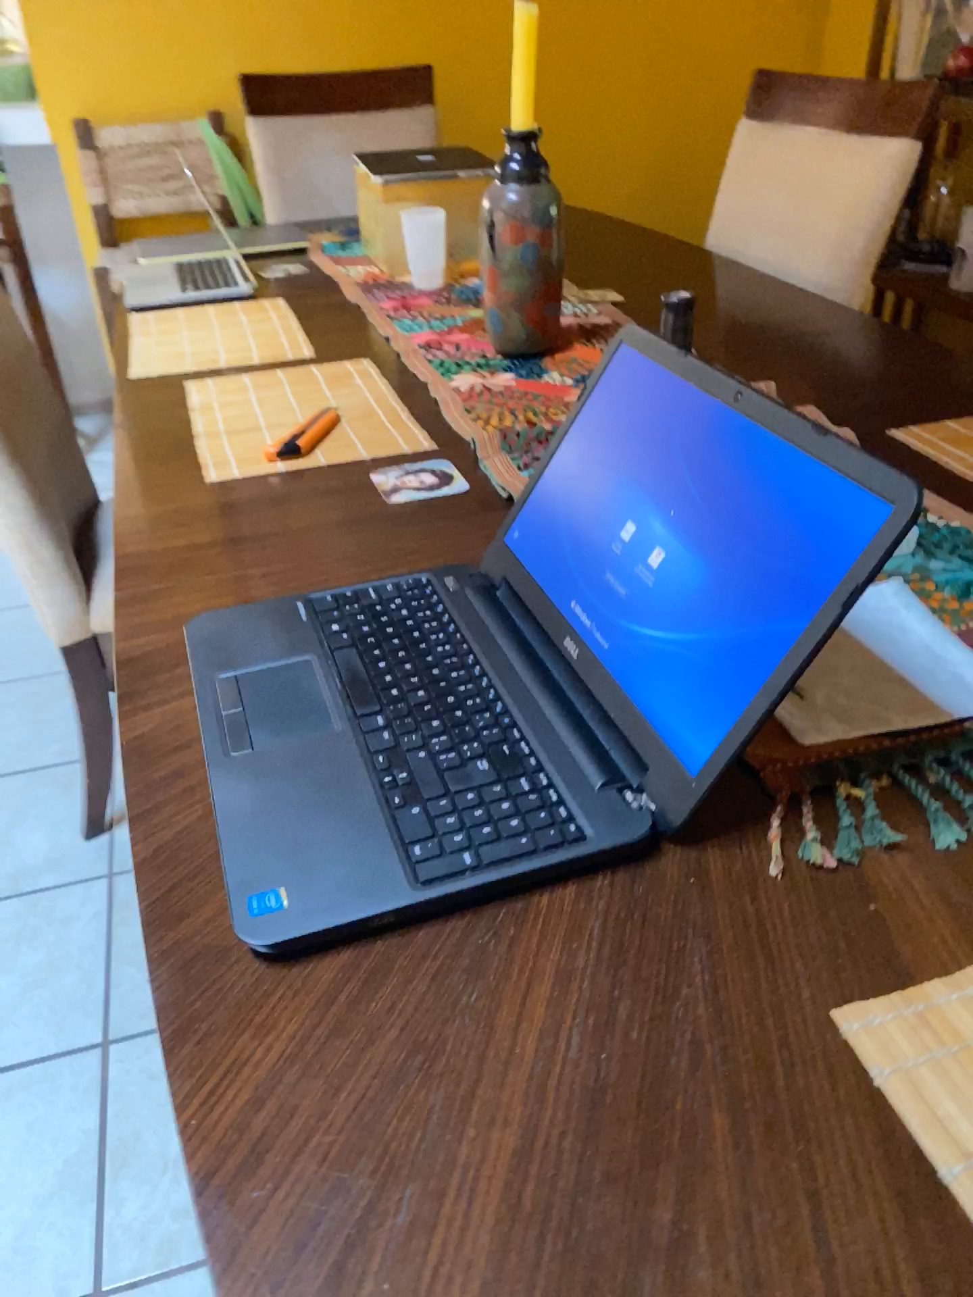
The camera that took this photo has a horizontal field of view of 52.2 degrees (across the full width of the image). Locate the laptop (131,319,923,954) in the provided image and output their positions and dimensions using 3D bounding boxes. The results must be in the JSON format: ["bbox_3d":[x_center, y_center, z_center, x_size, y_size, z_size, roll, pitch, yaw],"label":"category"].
[{"bbox_3d":[-0.009,-0.055,0.681,0.395,0.194,0.369,-13,35,-15],"label":"laptop"}]
